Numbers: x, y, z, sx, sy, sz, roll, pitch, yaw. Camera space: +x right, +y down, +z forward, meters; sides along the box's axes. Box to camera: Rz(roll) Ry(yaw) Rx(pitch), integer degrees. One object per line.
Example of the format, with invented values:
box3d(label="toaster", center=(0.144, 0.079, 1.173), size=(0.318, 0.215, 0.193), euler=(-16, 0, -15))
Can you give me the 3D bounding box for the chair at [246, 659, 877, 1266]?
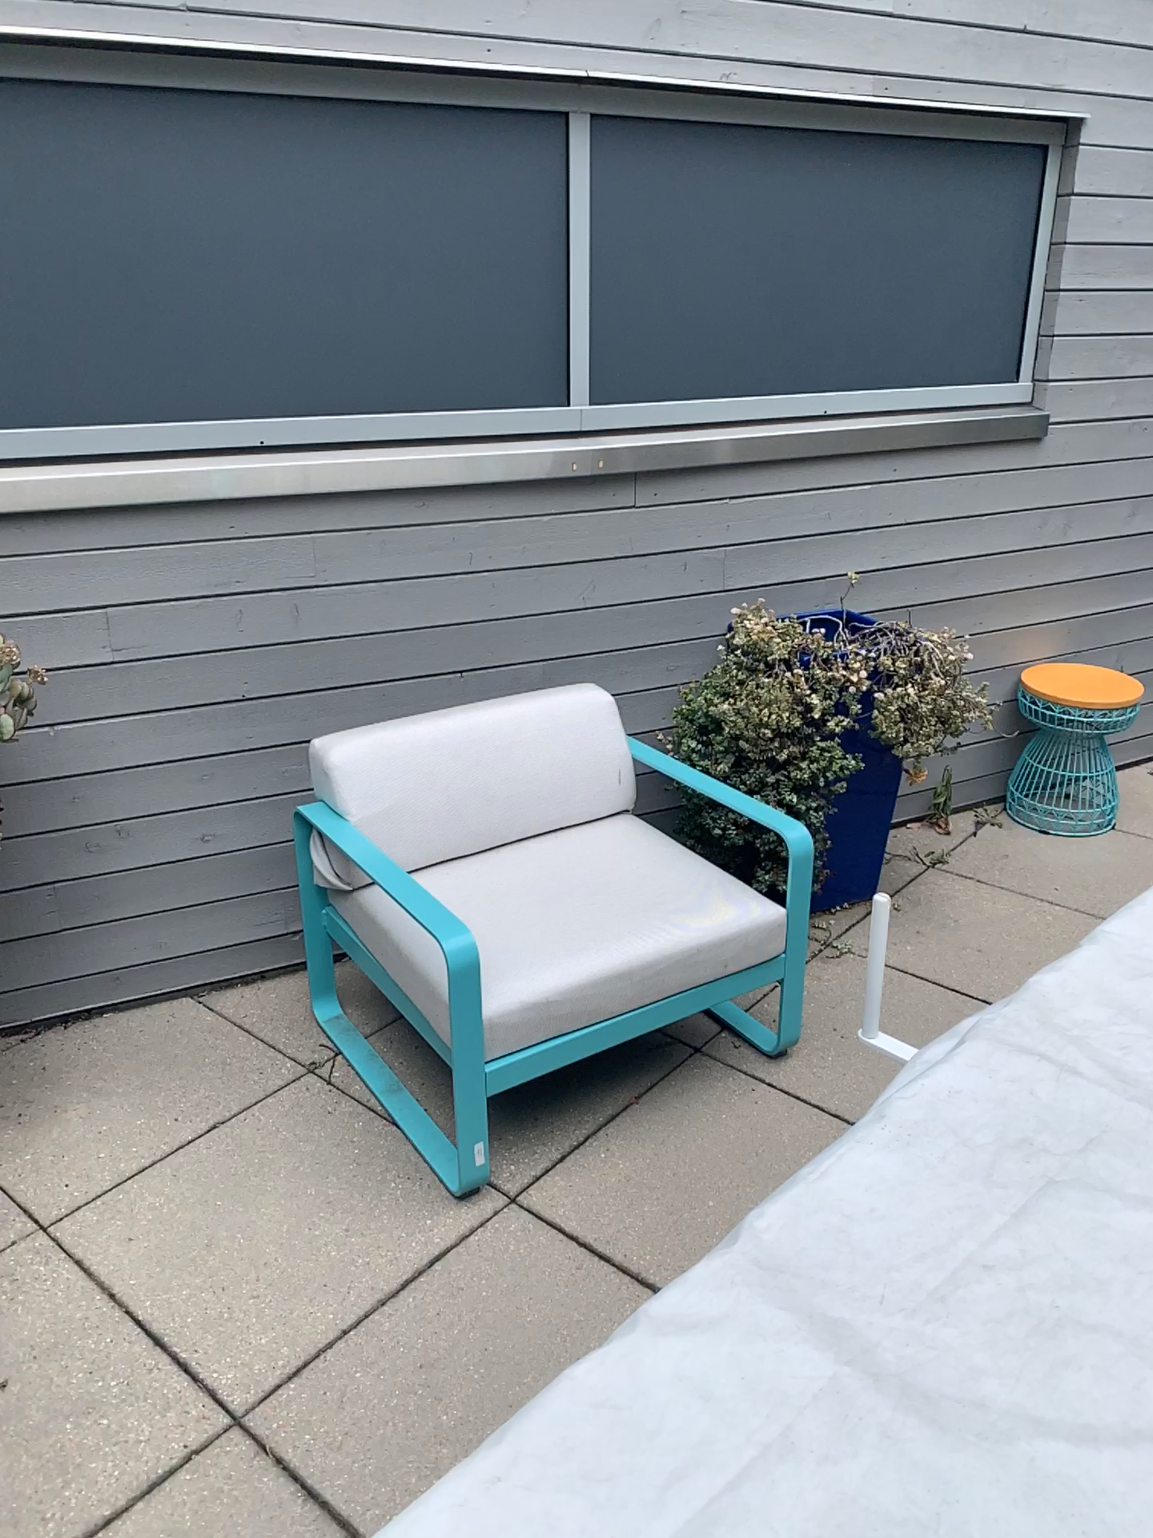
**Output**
box3d(label="chair", center=(-0.062, 0.301, 2.550), size=(0.970, 0.736, 0.904), euler=(-13, 25, -29))
